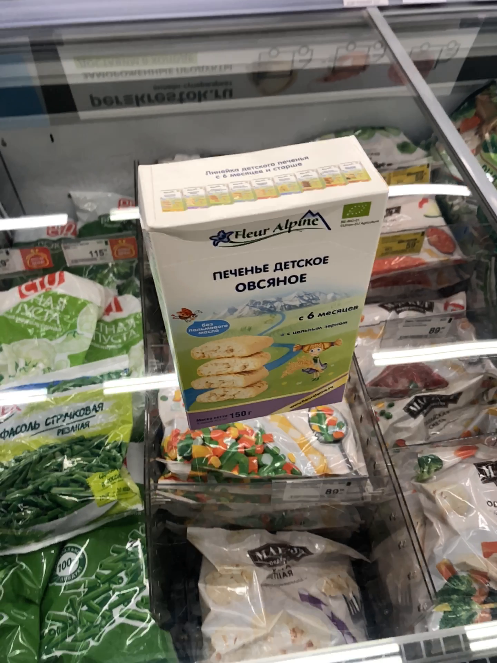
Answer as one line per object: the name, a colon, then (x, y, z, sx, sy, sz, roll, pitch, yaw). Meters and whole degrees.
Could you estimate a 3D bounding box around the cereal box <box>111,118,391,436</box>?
cereal box: (0.001, -0.018, 0.326, 0.120, 0.189, 0.050, -11, 52, -8)
